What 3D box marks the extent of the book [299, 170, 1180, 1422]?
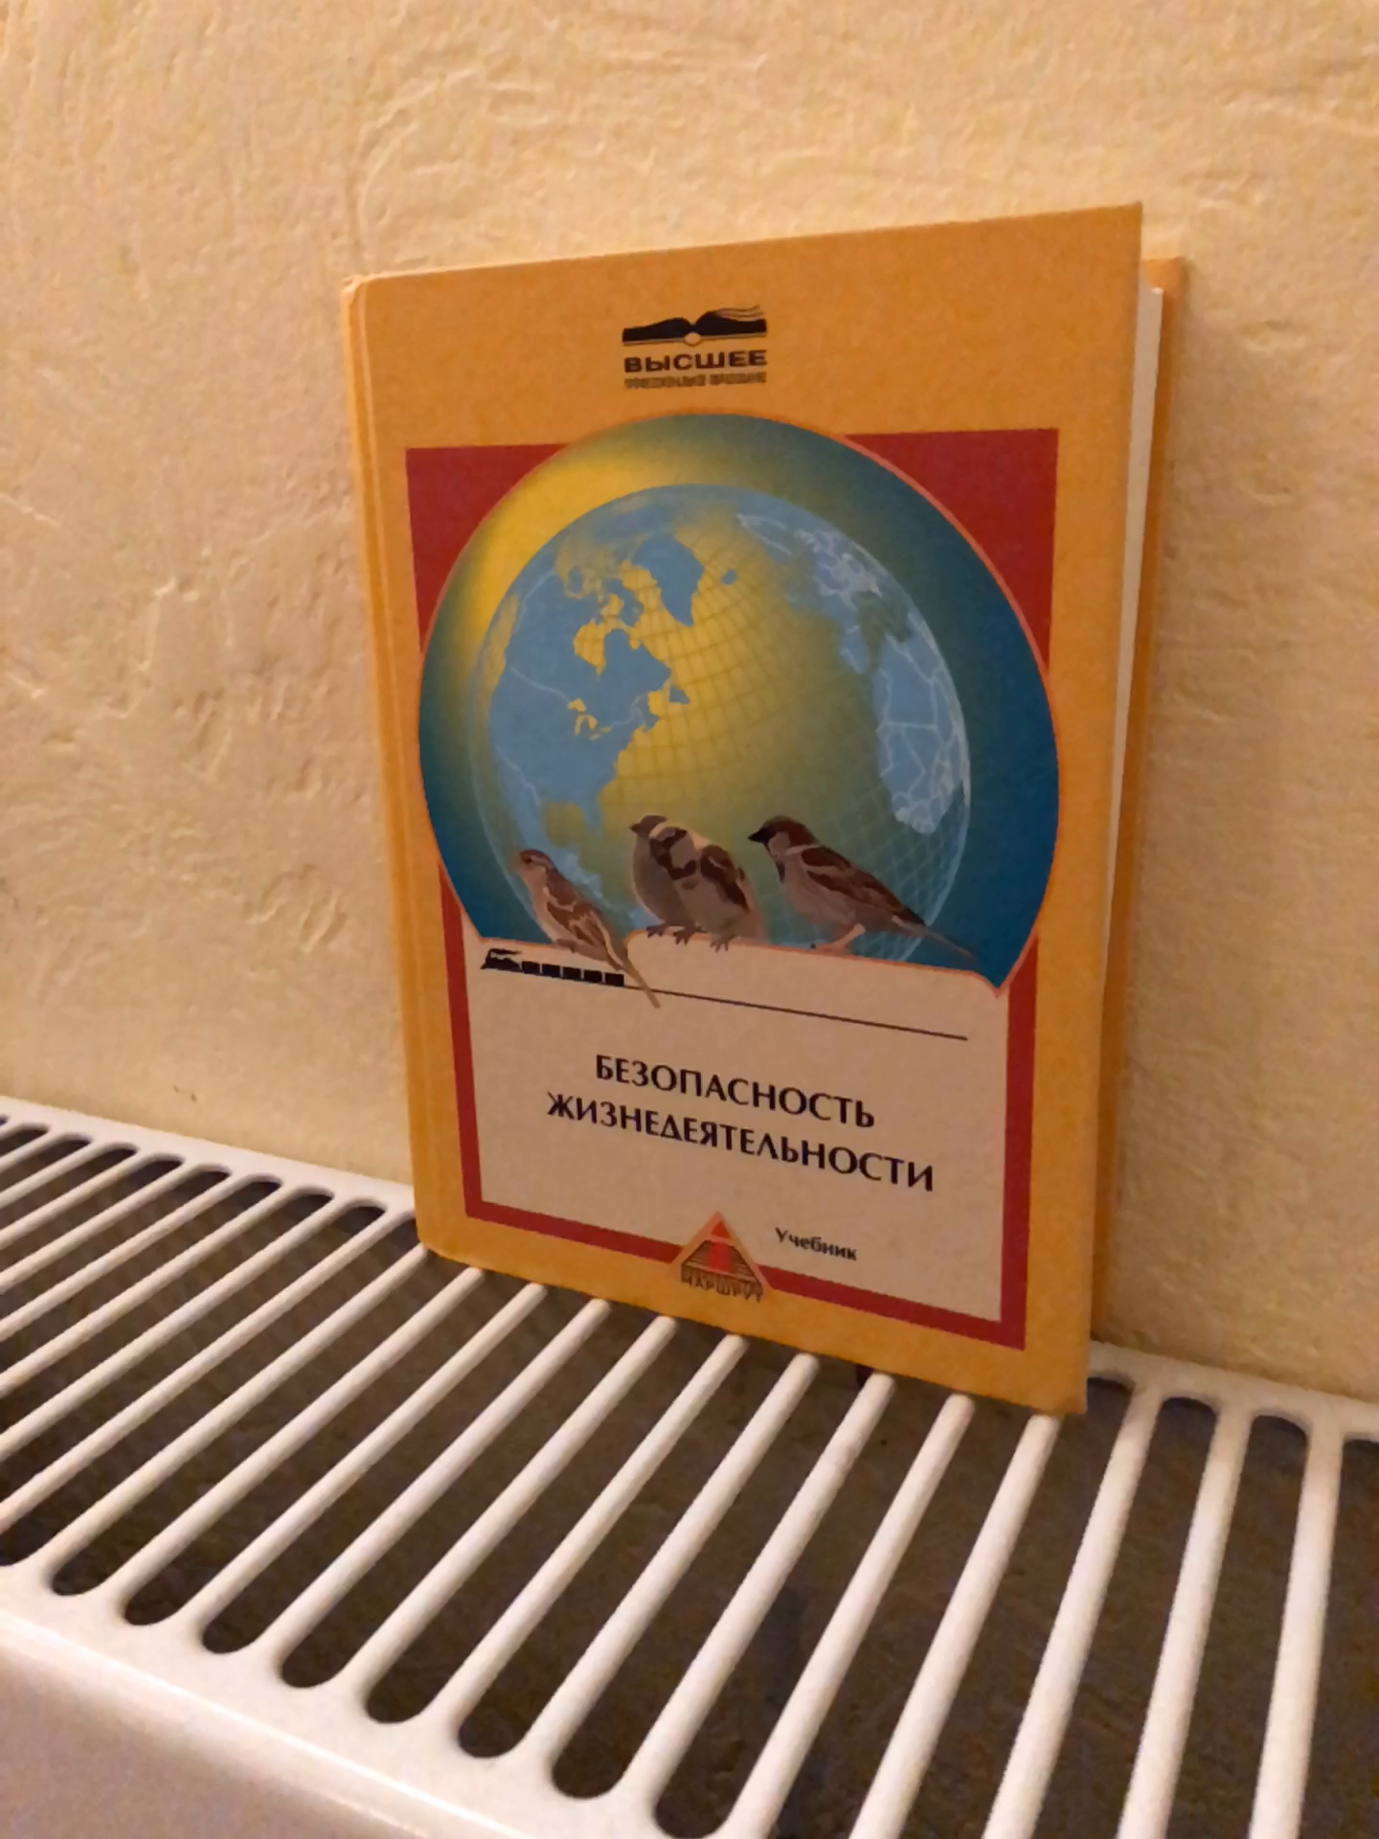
[{"bbox_3d":[0.009,-0.021,0.294,0.150,0.203,0.041,7,20,28],"label":"book"}]
